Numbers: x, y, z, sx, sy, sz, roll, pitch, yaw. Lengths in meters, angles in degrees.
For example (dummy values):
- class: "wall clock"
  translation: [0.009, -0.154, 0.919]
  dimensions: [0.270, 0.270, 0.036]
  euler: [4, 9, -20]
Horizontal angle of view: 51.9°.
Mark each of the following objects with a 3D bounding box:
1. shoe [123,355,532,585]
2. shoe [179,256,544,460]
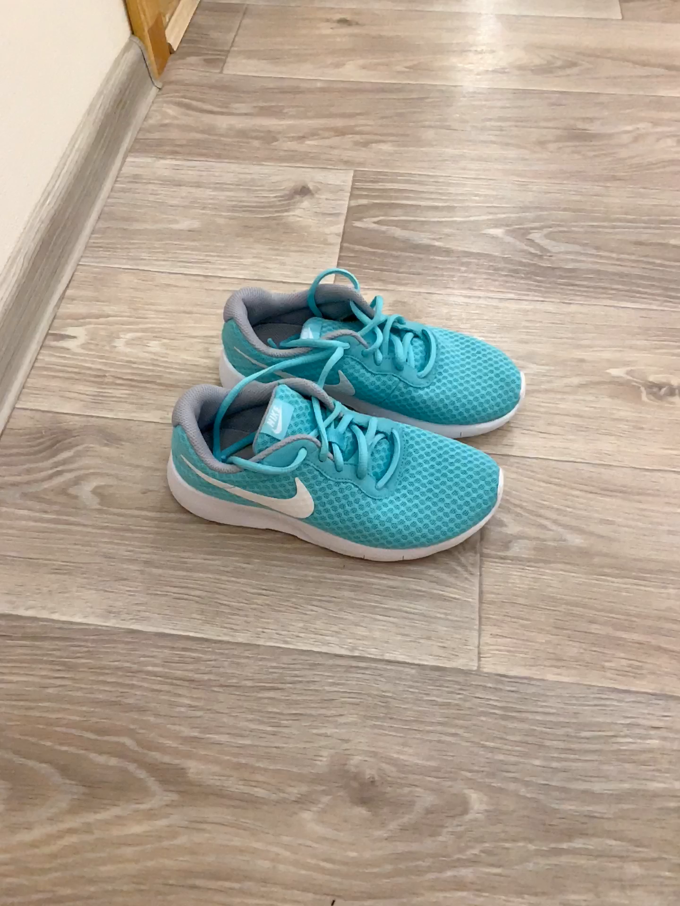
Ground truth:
- class: "shoe"
  translation: [-0.003, 0.012, 0.486]
  dimensions: [0.250, 0.090, 0.102]
  euler: [6, 57, 5]
- class: "shoe"
  translation: [0.019, -0.073, 0.538]
  dimensions: [0.250, 0.090, 0.099]
  euler: [6, 57, 5]
